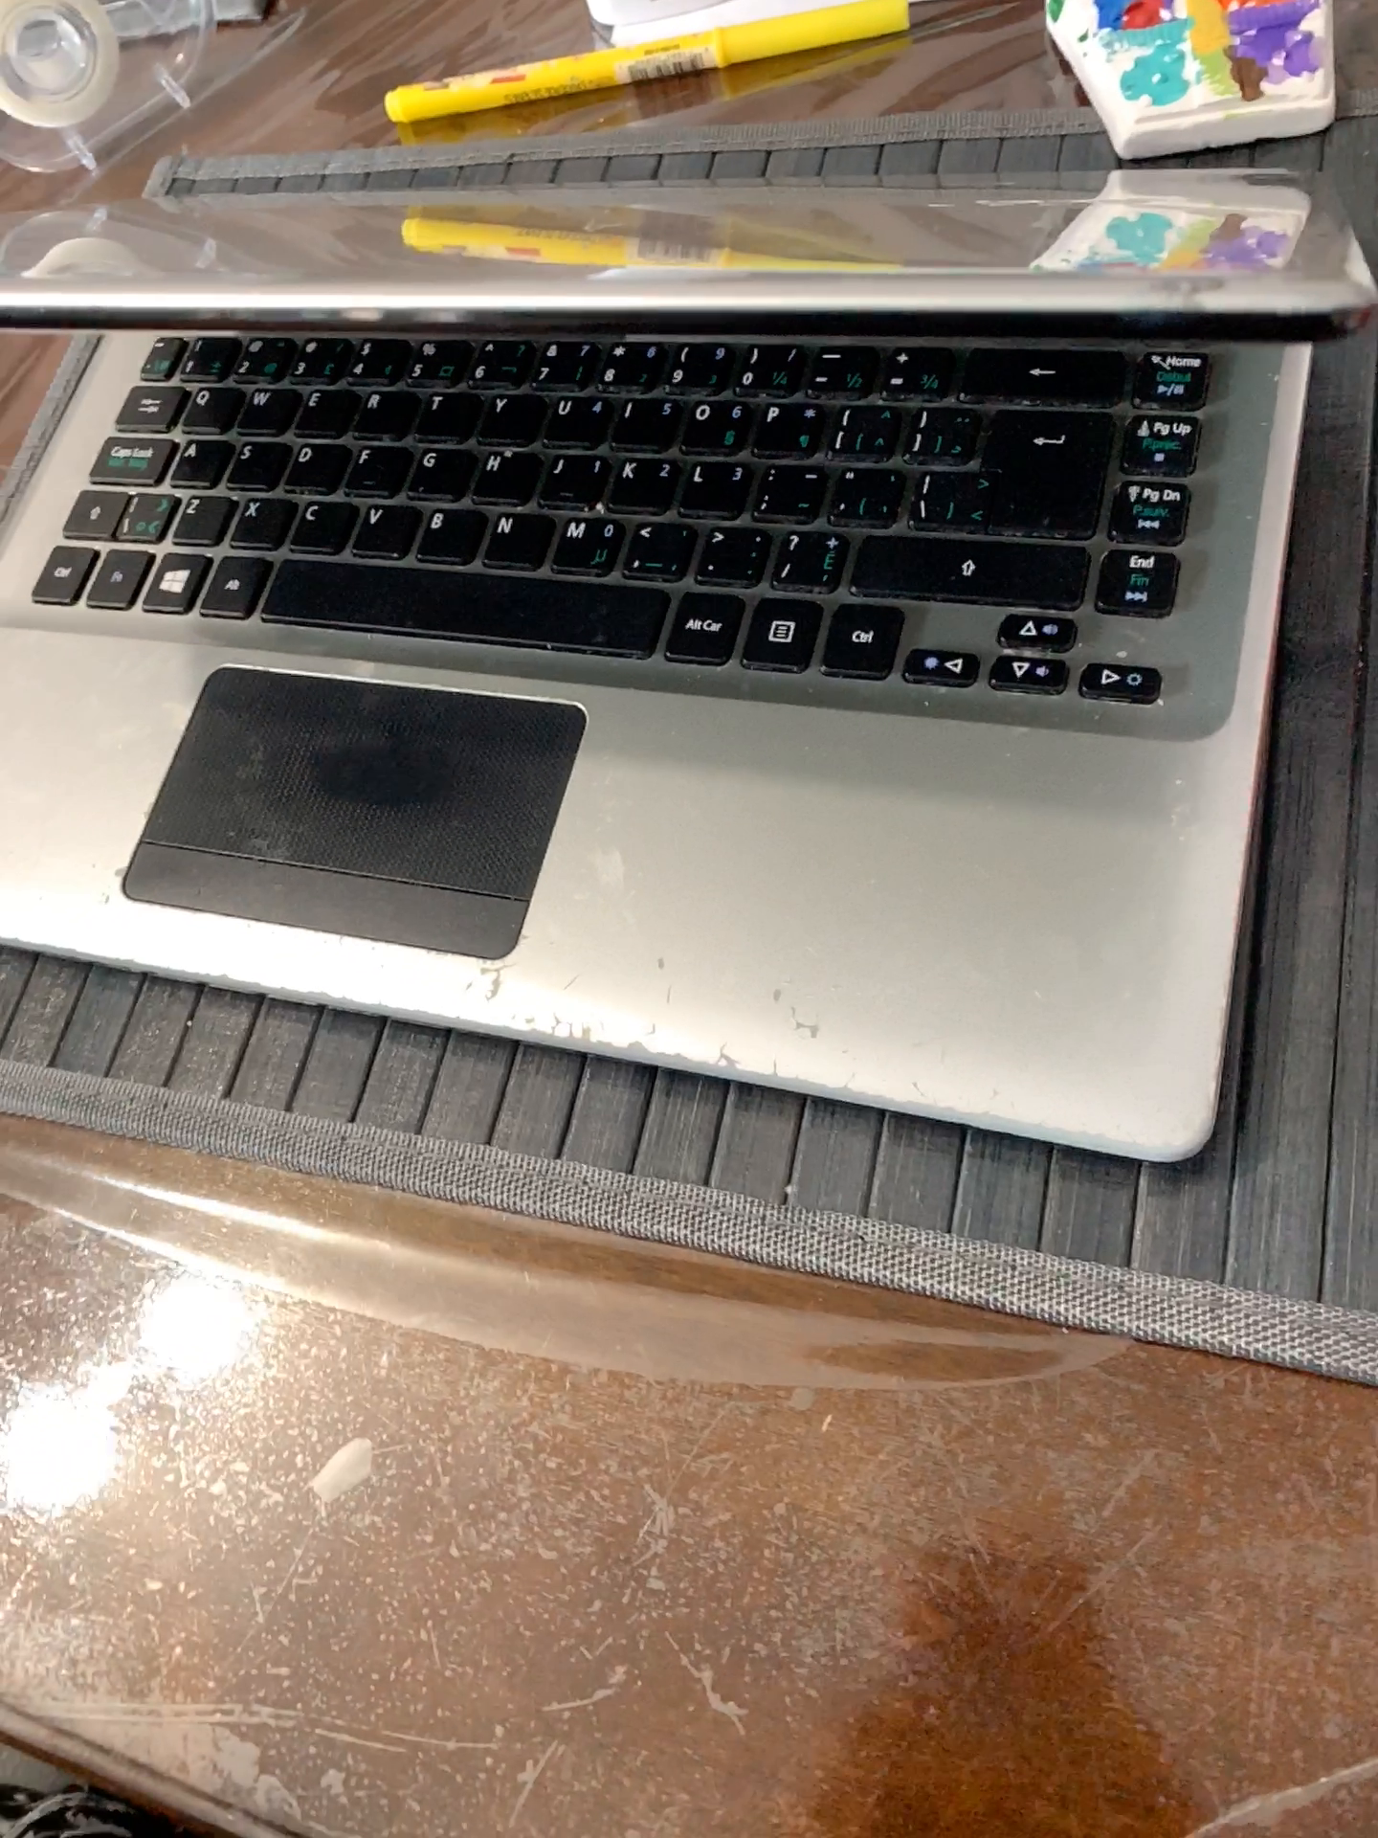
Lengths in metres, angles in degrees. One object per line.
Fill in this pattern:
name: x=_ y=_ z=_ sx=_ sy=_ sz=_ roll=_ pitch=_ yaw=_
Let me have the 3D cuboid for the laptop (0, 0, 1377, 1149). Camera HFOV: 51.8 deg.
laptop: x=-0.055 y=-0.112 z=0.294 sx=0.344 sy=0.141 sz=0.225 roll=8 pitch=69 yaw=18
